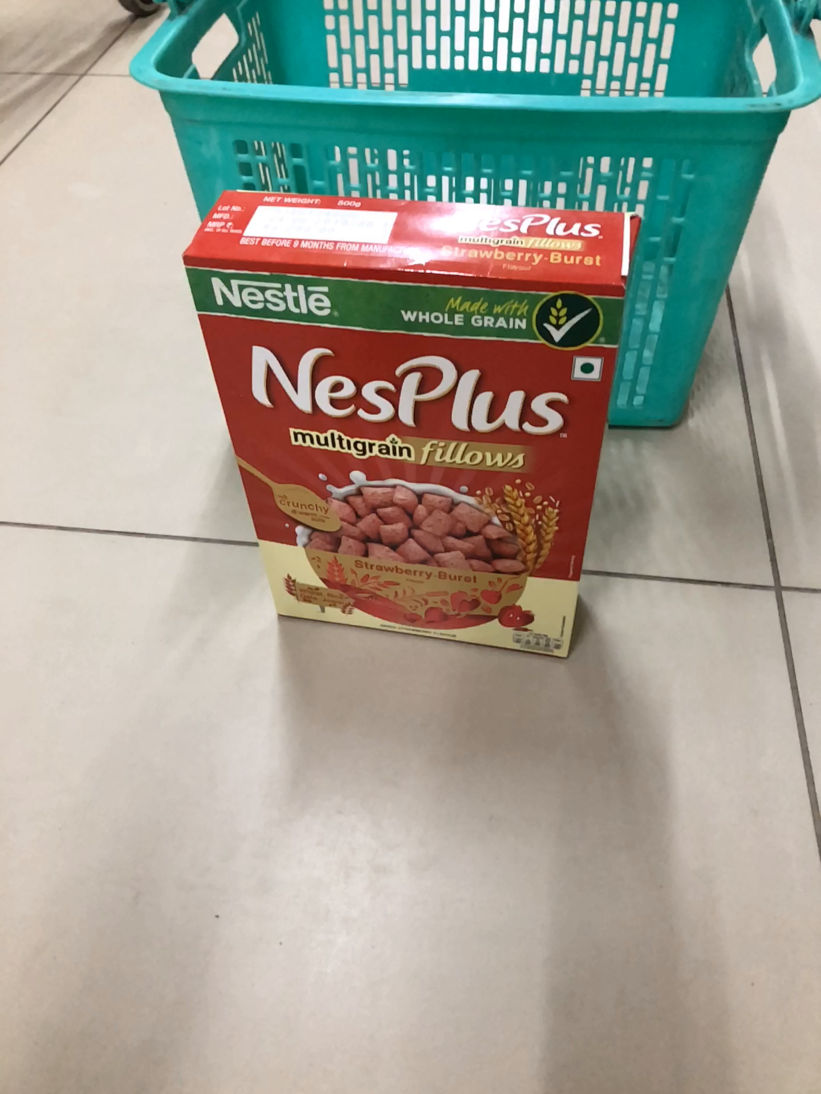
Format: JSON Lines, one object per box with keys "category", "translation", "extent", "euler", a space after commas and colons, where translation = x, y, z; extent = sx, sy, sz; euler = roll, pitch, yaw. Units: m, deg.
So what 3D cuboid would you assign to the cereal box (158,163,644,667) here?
{"category": "cereal box", "translation": [0.002, -0.051, 0.466], "extent": [0.190, 0.258, 0.060], "euler": [8, 50, 9]}
